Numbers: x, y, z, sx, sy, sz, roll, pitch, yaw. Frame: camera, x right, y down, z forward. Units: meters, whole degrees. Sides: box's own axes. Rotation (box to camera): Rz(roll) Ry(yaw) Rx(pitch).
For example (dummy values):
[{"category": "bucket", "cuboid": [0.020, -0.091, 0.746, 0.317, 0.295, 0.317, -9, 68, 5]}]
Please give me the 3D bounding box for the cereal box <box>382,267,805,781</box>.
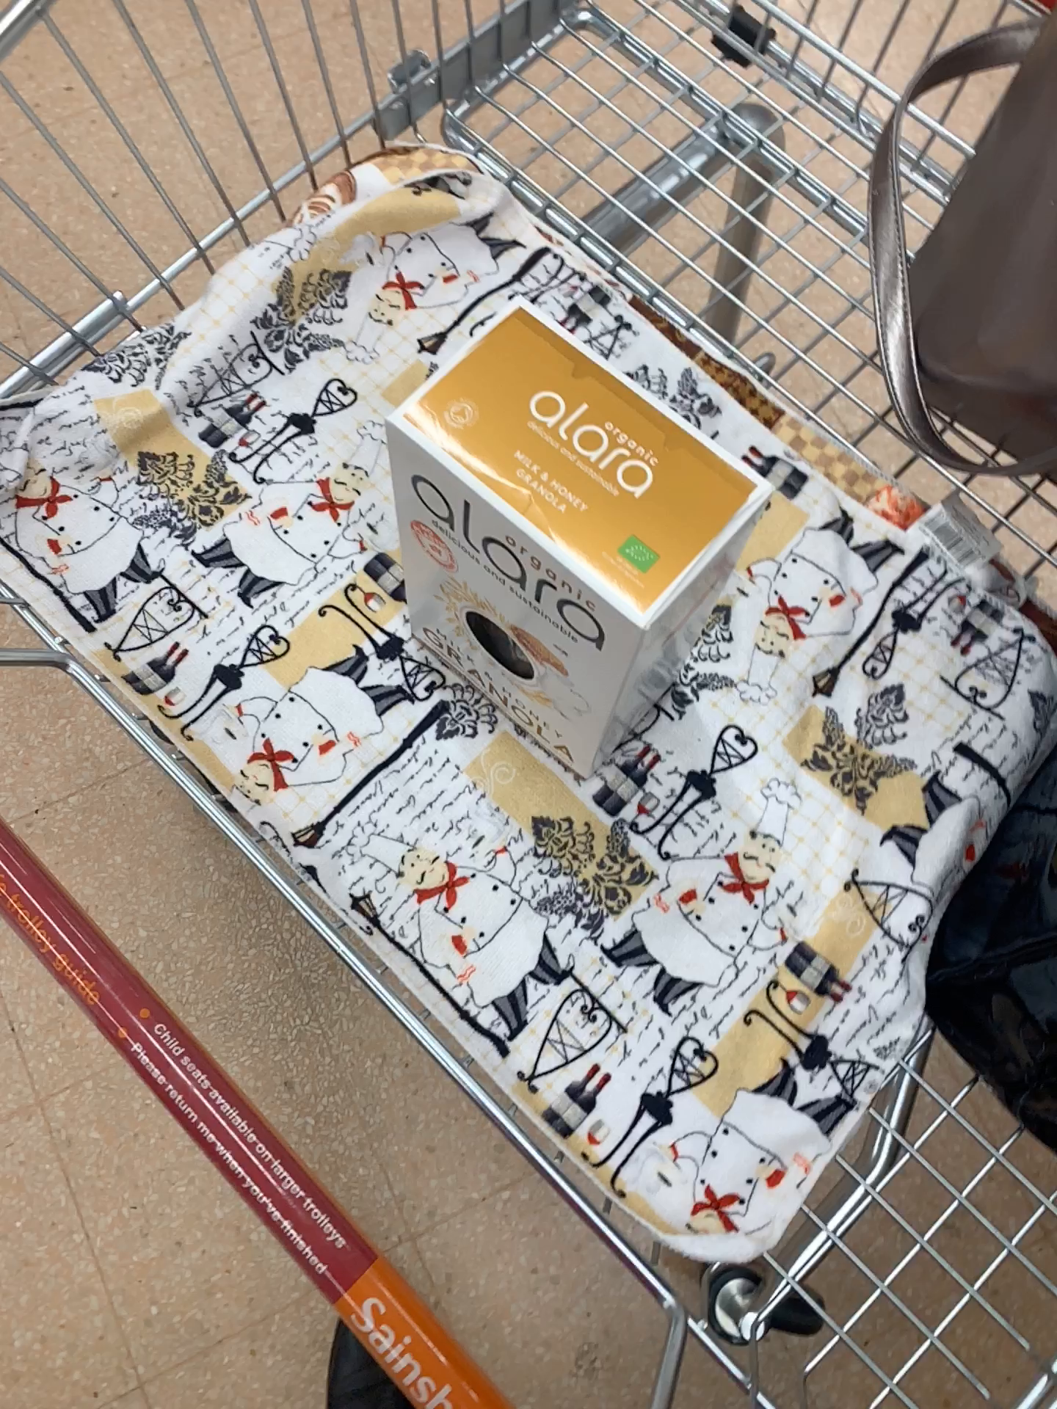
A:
[{"category": "cereal box", "cuboid": [0.017, -0.059, 0.459, 0.120, 0.199, 0.080, 39, 74, 9]}]
